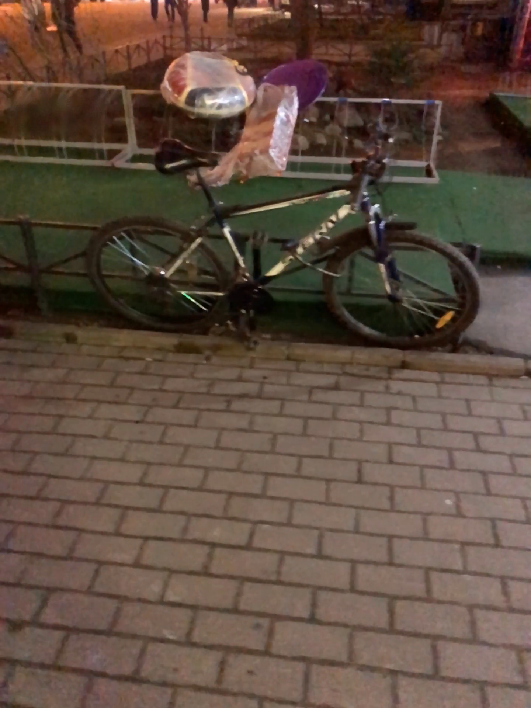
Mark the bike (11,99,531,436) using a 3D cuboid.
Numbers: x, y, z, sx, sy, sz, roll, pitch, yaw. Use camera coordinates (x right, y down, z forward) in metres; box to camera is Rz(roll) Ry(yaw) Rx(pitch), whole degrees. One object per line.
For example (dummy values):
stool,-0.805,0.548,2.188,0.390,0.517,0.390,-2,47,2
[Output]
bike,0.024,-0.328,2.024,1.456,0.883,0.533,7,31,7
